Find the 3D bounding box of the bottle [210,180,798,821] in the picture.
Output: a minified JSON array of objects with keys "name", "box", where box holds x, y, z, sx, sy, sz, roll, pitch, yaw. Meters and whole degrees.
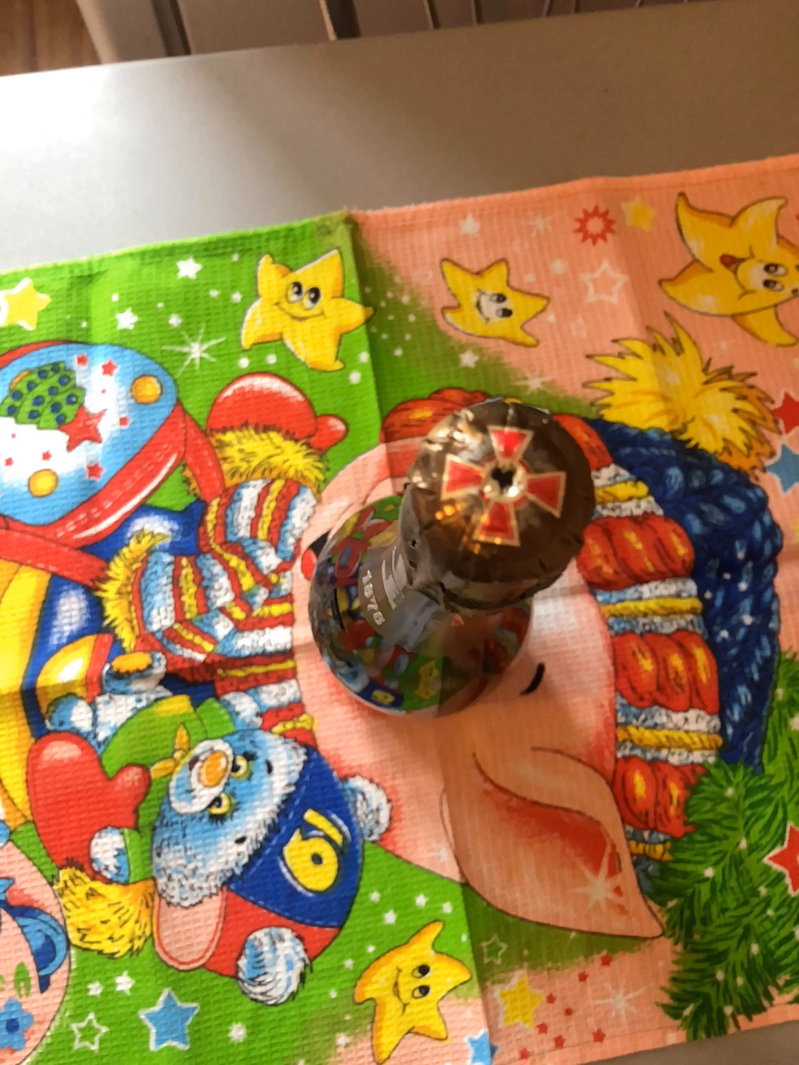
[{"name":"bottle","box":[0.015,0.019,0.288,0.093,0.310,0.090,0,80,-3]}]
